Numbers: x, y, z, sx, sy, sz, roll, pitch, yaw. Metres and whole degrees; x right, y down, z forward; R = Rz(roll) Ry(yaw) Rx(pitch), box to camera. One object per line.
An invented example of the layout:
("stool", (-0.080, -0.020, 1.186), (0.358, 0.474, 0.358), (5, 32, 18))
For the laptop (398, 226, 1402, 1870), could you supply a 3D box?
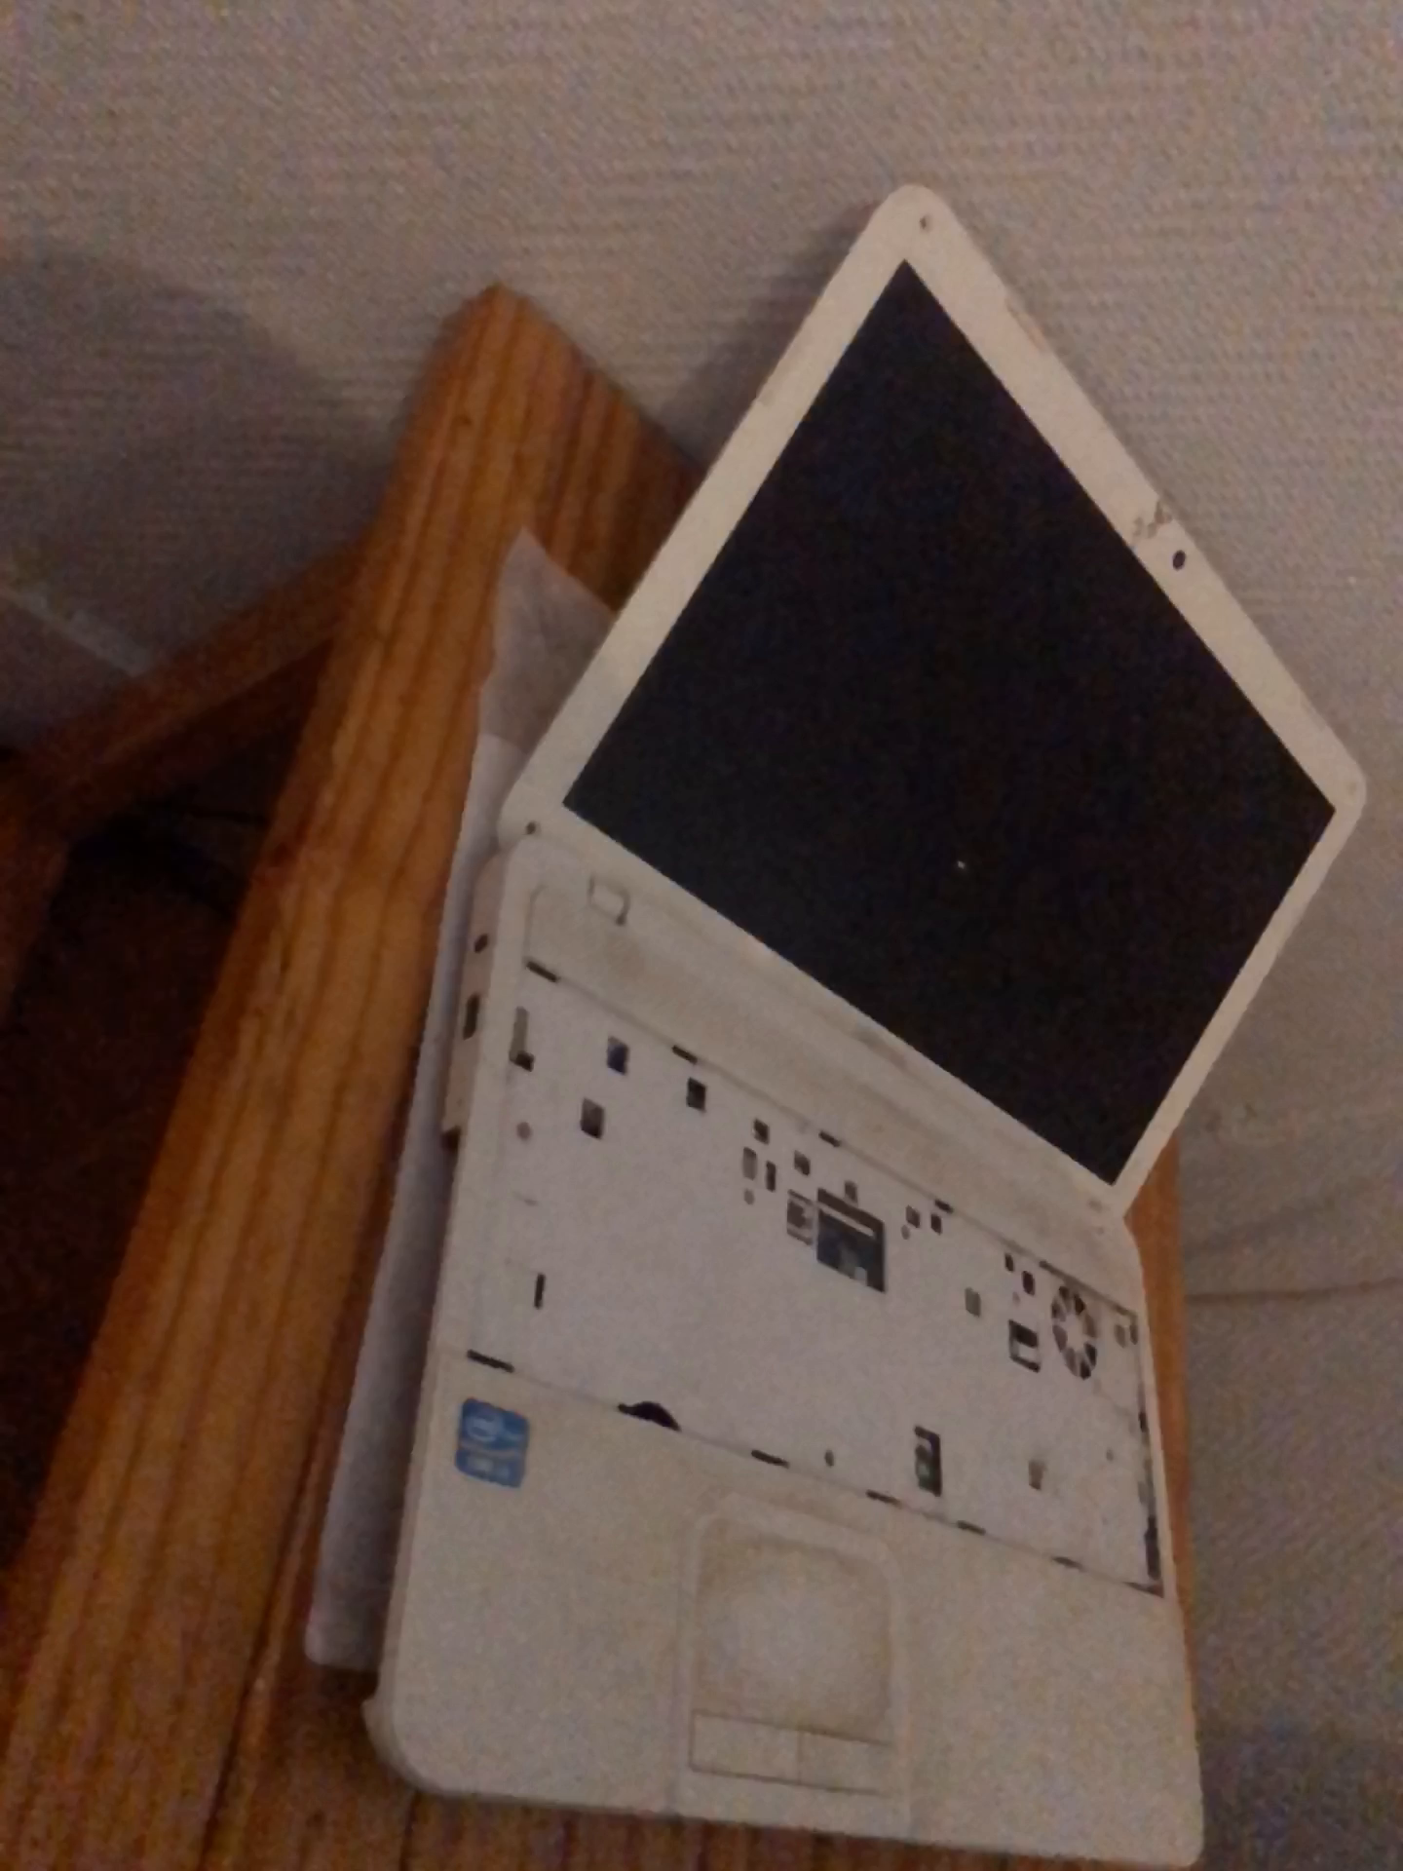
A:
("laptop", (0.117, 0.058, 0.506), (0.373, 0.117, 0.419), (35, 46, -38))
